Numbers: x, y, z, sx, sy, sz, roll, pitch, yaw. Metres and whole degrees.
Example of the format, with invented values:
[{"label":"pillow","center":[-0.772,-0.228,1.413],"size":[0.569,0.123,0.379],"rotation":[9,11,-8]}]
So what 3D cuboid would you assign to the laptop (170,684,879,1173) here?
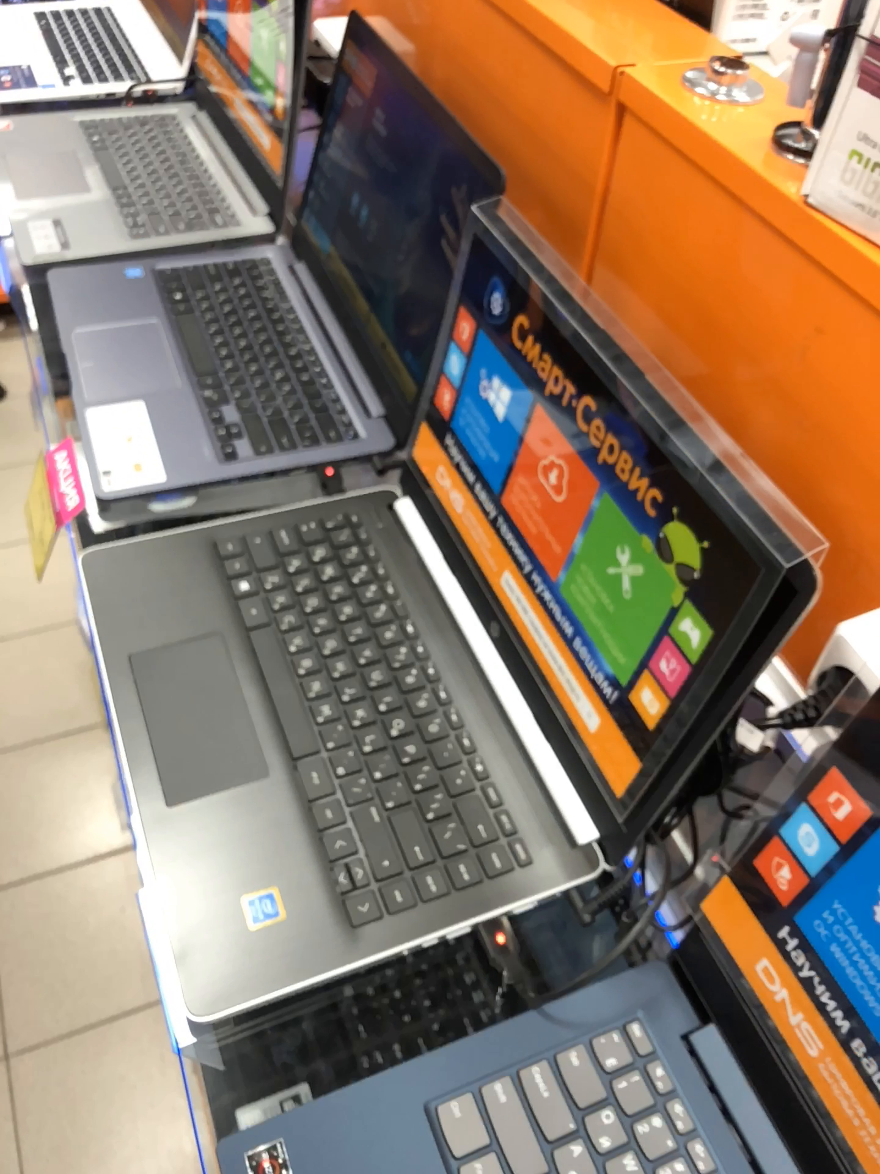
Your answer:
[{"label":"laptop","center":[0.077,0.228,0.283],"size":[0.248,0.205,0.277],"rotation":[-12,47,-16]}]

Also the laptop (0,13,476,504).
[{"label":"laptop","center":[-0.161,-0.272,0.751],"size":[0.279,0.199,0.314],"rotation":[-13,50,-20]}]

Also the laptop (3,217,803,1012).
[{"label":"laptop","center":[-0.046,-0.012,0.515],"size":[0.267,0.197,0.314],"rotation":[-14,49,-18]}]

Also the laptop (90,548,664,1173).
[{"label":"laptop","center":[-0.069,0.206,0.691],"size":[0.251,0.245,0.364],"rotation":[-13,48,-18]}]
